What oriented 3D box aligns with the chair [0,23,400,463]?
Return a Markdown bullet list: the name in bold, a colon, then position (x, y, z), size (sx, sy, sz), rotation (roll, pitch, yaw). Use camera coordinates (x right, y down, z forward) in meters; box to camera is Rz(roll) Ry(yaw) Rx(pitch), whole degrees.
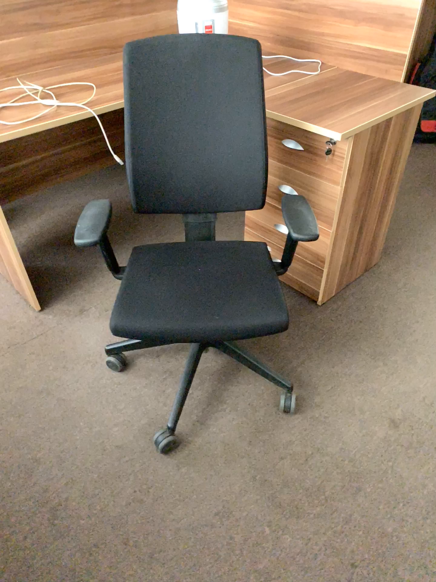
- **chair**: position (-0.075, -0.141, 1.245), size (0.670, 0.915, 0.794), rotation (-2, 40, -1)
